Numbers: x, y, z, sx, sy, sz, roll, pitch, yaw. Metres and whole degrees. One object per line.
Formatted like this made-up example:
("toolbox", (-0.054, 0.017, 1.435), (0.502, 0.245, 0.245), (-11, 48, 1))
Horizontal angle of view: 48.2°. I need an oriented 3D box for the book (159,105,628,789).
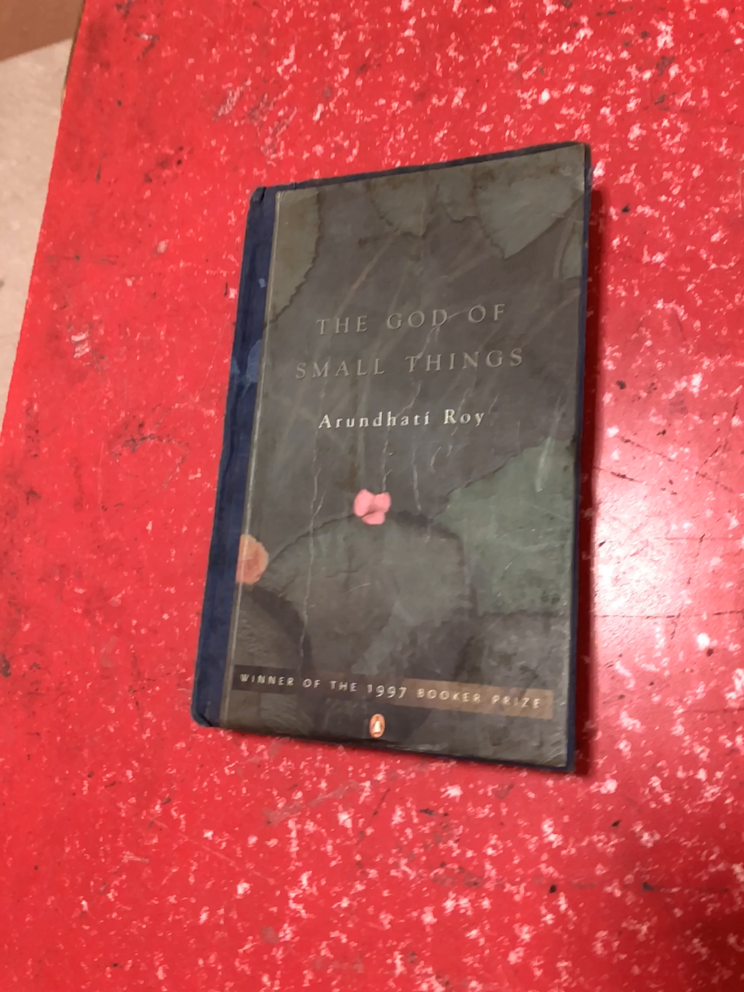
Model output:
("book", (0.011, -0.020, 0.305), (0.150, 0.040, 0.220), (0, 78, 23))
